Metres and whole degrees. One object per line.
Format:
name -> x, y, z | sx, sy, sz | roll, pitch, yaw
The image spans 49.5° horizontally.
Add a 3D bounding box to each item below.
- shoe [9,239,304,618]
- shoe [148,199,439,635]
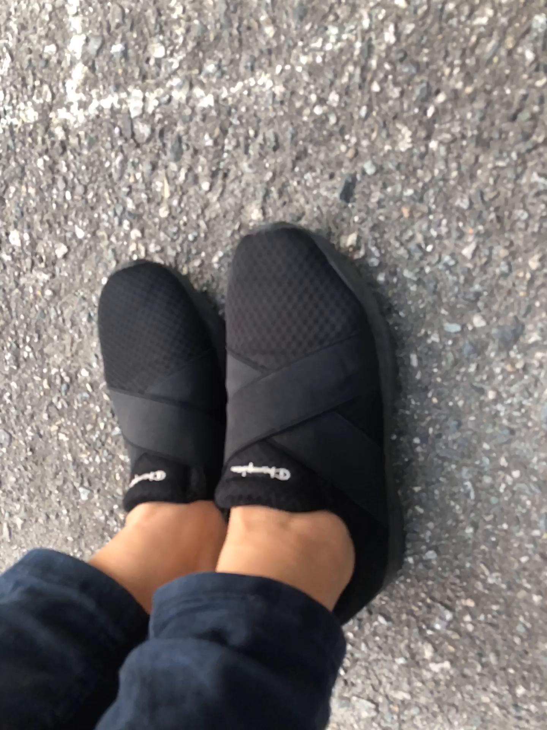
shoe -> -0.071, 0.043, 0.386 | 0.100, 0.070, 0.220 | -15, 98, 26
shoe -> 0.020, 0.028, 0.340 | 0.100, 0.080, 0.220 | -8, 101, 25
